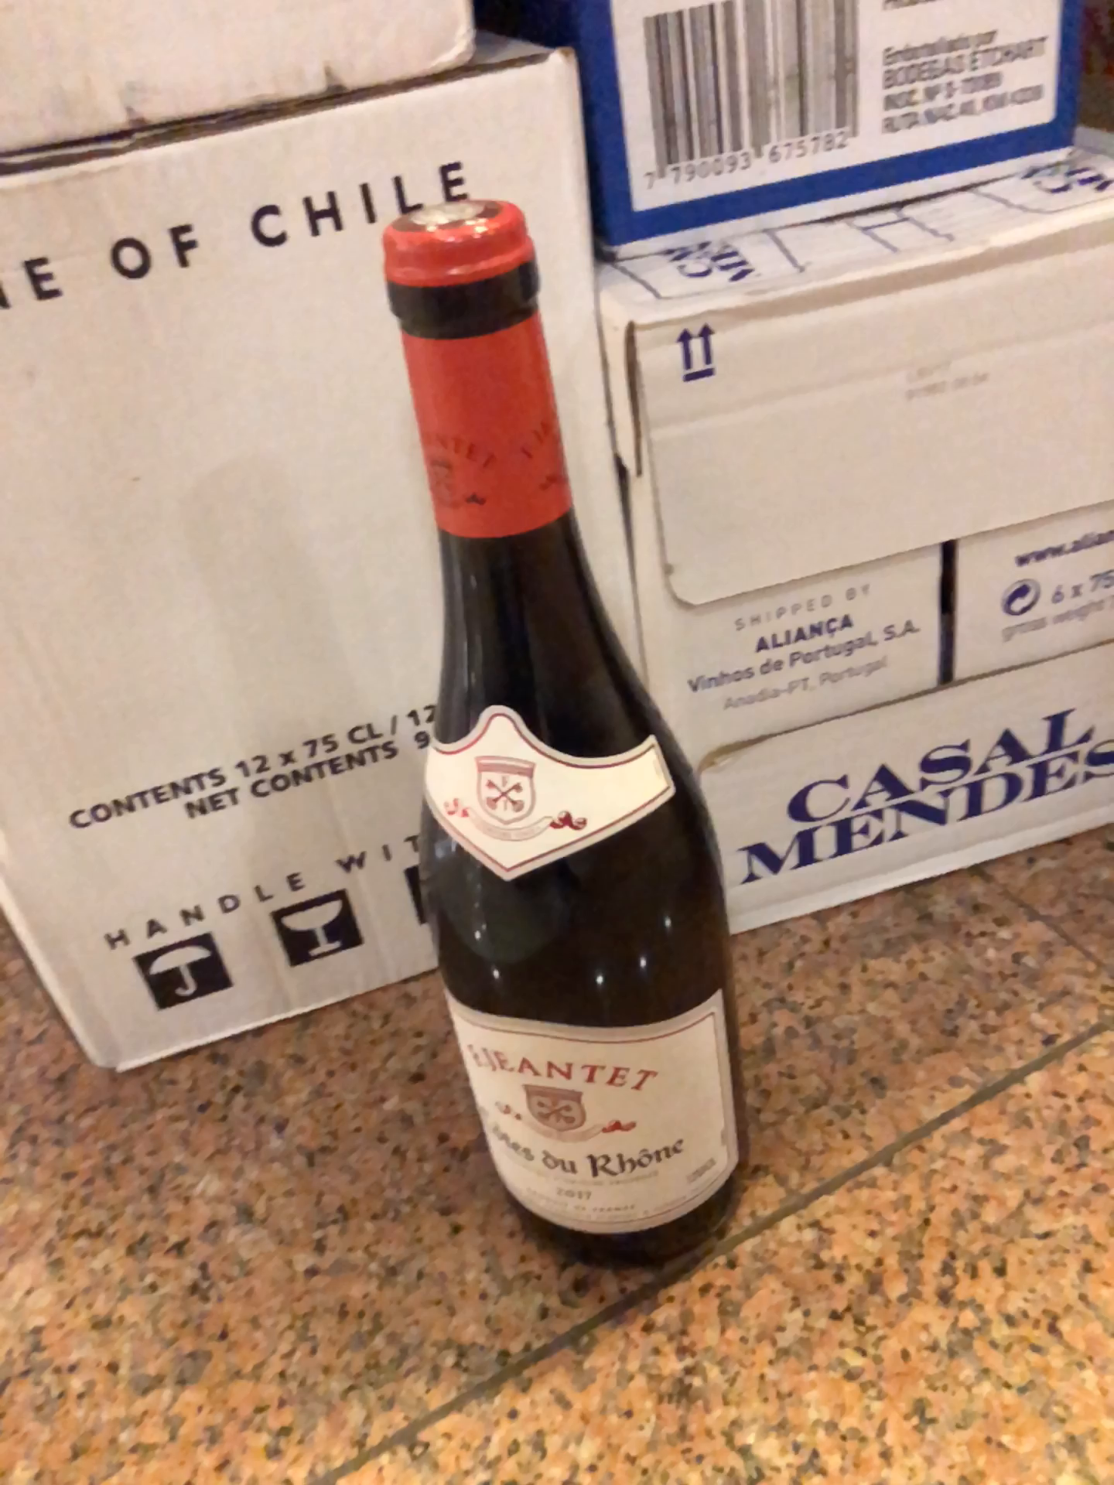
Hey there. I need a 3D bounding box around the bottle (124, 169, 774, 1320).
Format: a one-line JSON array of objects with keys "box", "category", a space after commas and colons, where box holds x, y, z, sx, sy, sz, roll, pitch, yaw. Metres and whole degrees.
[{"box": [-0.001, 0.024, 0.312, 0.090, 0.288, 0.081, 1, 37, 16], "category": "bottle"}]
